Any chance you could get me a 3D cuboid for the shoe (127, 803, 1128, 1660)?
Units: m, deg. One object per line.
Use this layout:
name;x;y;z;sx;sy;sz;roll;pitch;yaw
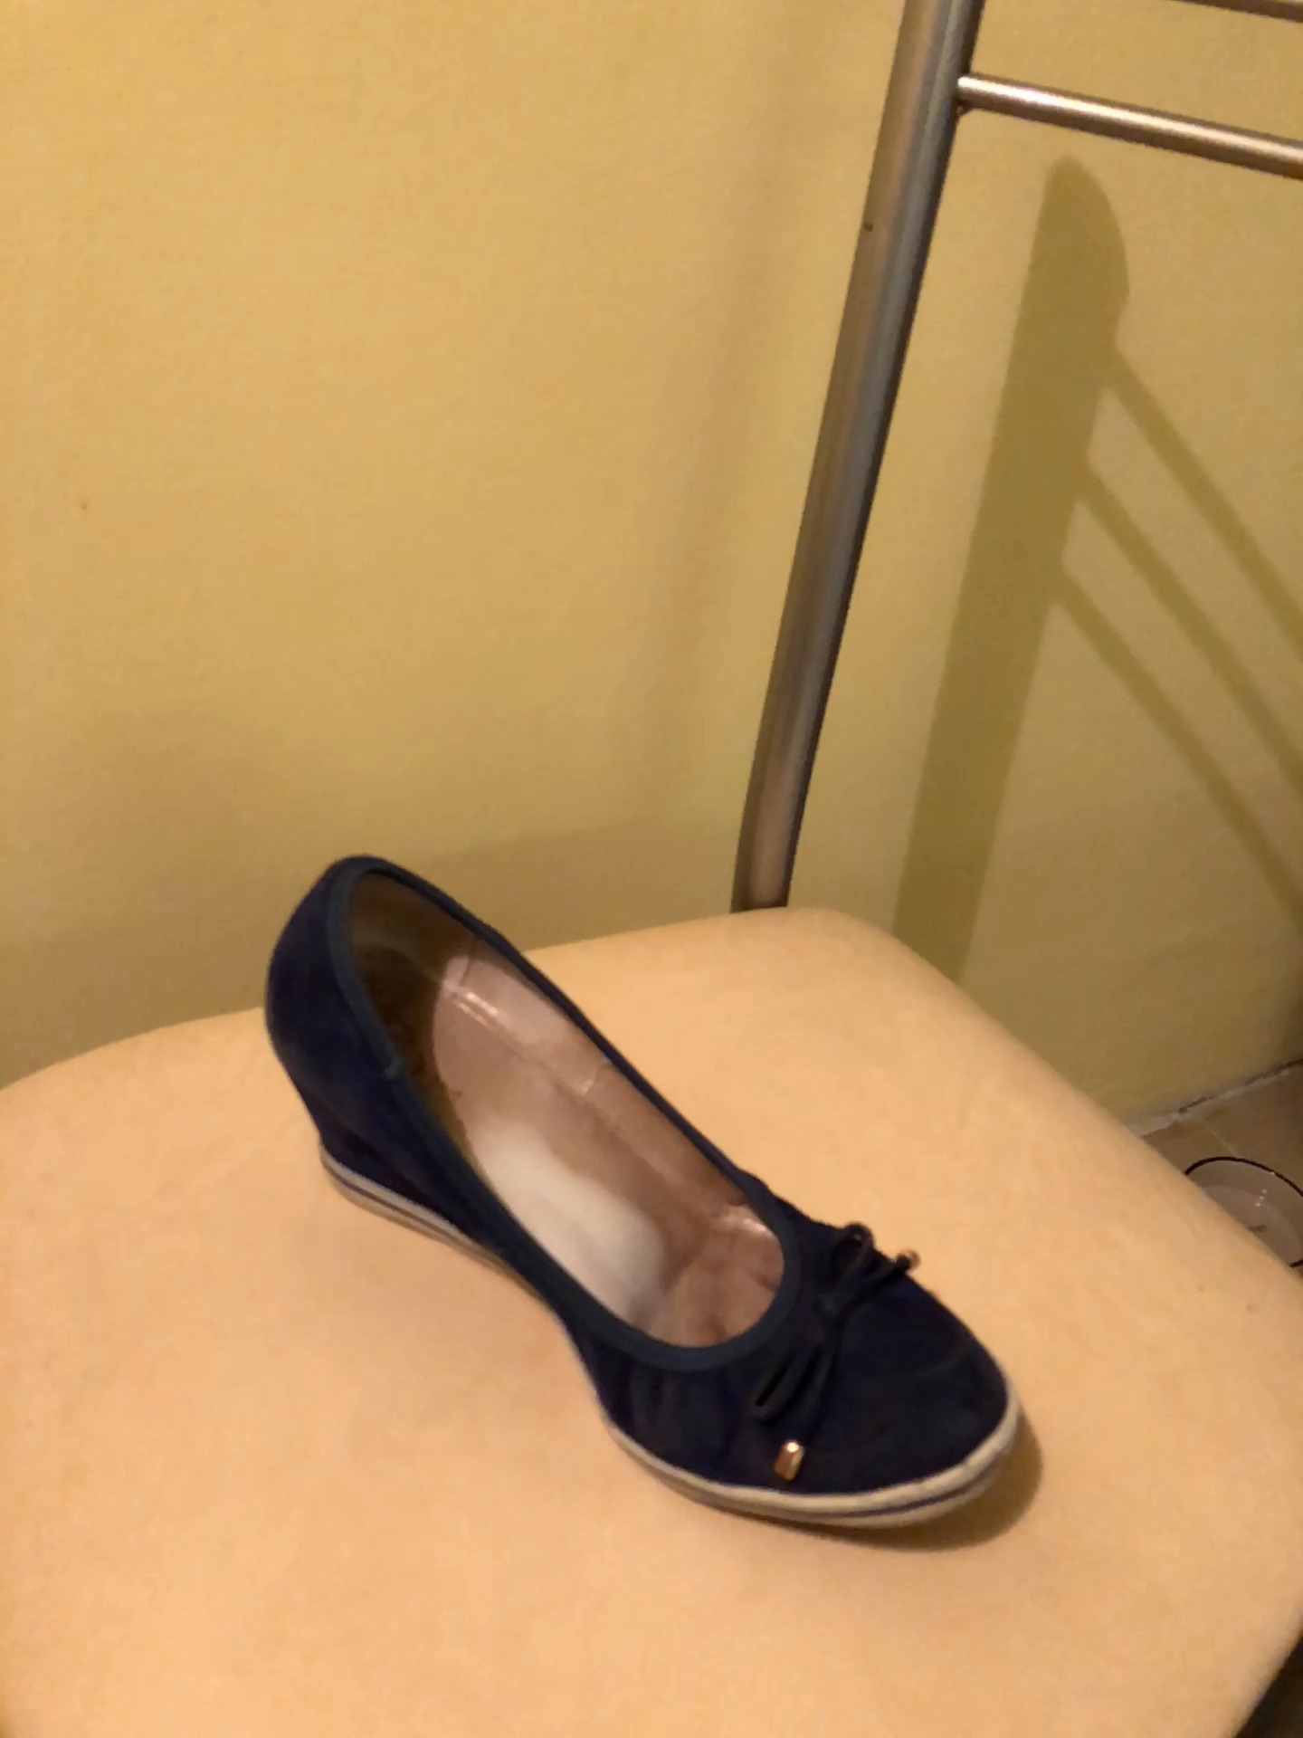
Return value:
shoe;-0.015;0.086;0.396;0.250;0.099;0.091;23;40;23
